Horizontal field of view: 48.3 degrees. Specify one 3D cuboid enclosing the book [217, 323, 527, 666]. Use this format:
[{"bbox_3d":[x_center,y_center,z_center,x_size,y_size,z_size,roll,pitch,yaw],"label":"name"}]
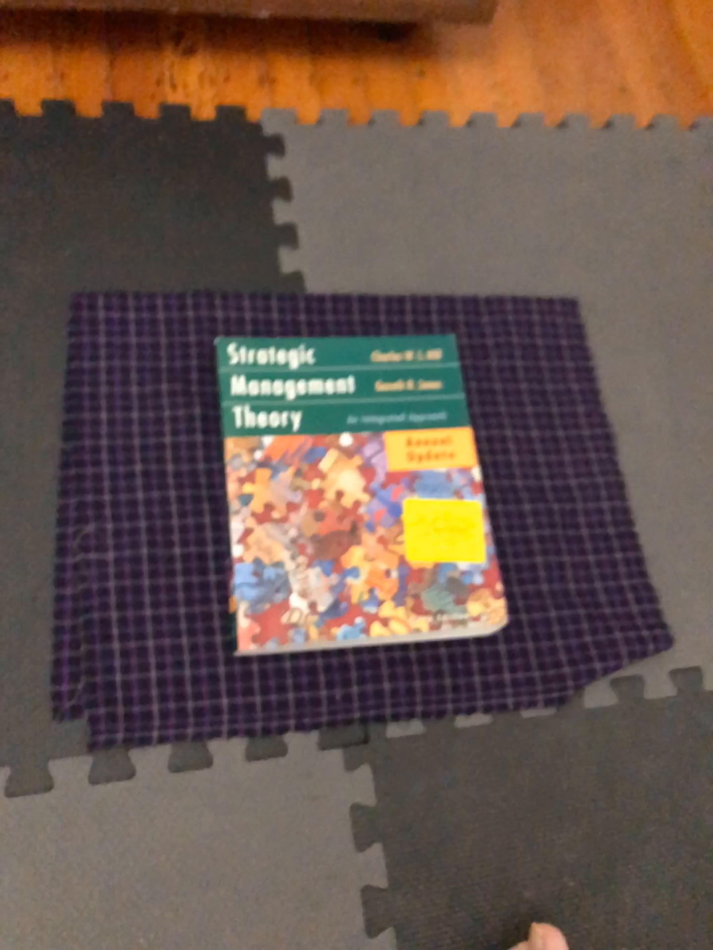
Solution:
[{"bbox_3d":[0.005,0.006,0.670,0.230,0.040,0.281,-2,71,-12],"label":"book"}]
